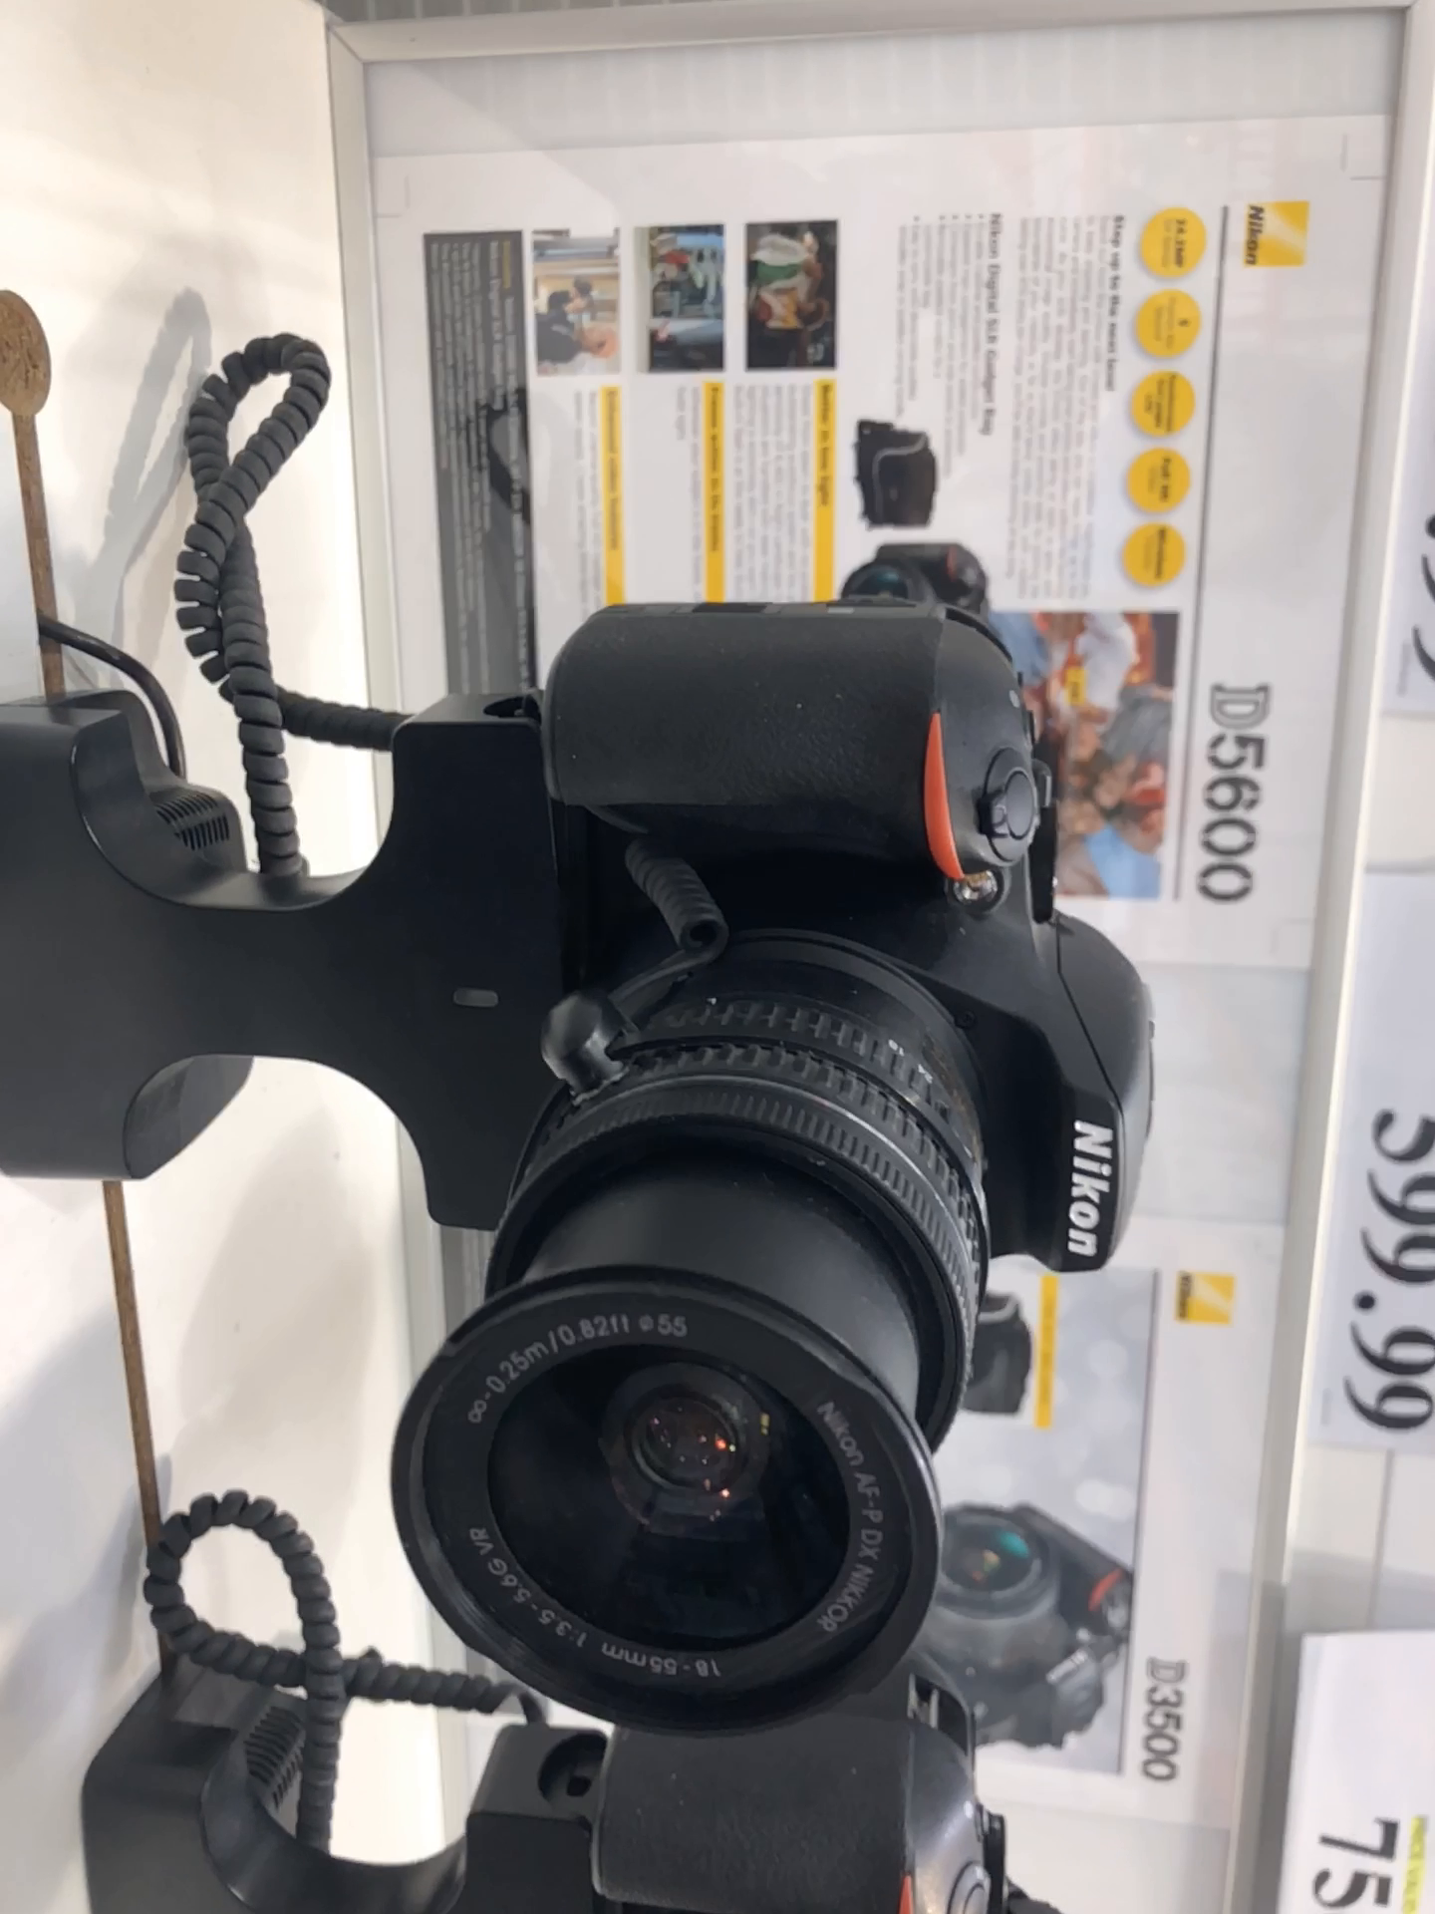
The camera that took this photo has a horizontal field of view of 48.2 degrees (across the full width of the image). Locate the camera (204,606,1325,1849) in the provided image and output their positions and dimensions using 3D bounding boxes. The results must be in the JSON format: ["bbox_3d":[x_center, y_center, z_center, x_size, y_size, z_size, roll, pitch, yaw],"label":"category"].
[{"bbox_3d":[0.018,0.019,0.251,0.160,0.110,0.120,-65,155,-66],"label":"camera"}]
